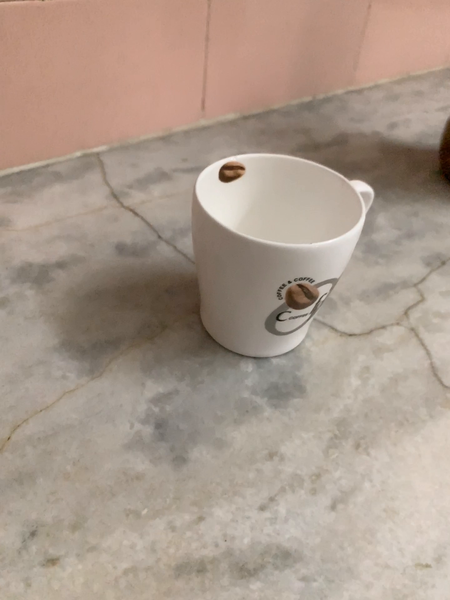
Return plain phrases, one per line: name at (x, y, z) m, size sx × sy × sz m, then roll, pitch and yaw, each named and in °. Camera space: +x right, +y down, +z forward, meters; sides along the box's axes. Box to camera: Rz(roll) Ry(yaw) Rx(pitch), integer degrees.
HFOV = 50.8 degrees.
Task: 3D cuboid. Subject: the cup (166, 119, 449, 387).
cup at (0.034, -0.028, 0.222) m, size 0.100 × 0.070 × 0.070 m, roll -28°, pitch 53°, yaw -32°
